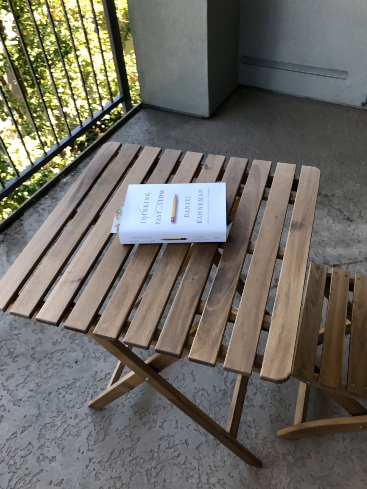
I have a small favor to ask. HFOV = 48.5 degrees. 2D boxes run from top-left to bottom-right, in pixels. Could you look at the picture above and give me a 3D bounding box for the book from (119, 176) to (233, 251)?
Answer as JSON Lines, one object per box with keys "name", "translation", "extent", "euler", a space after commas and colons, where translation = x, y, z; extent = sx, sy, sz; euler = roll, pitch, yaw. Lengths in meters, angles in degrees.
{"name": "book", "translation": [-0.012, -0.073, 0.933], "extent": [0.240, 0.060, 0.181], "euler": [-1, 47, 4]}
